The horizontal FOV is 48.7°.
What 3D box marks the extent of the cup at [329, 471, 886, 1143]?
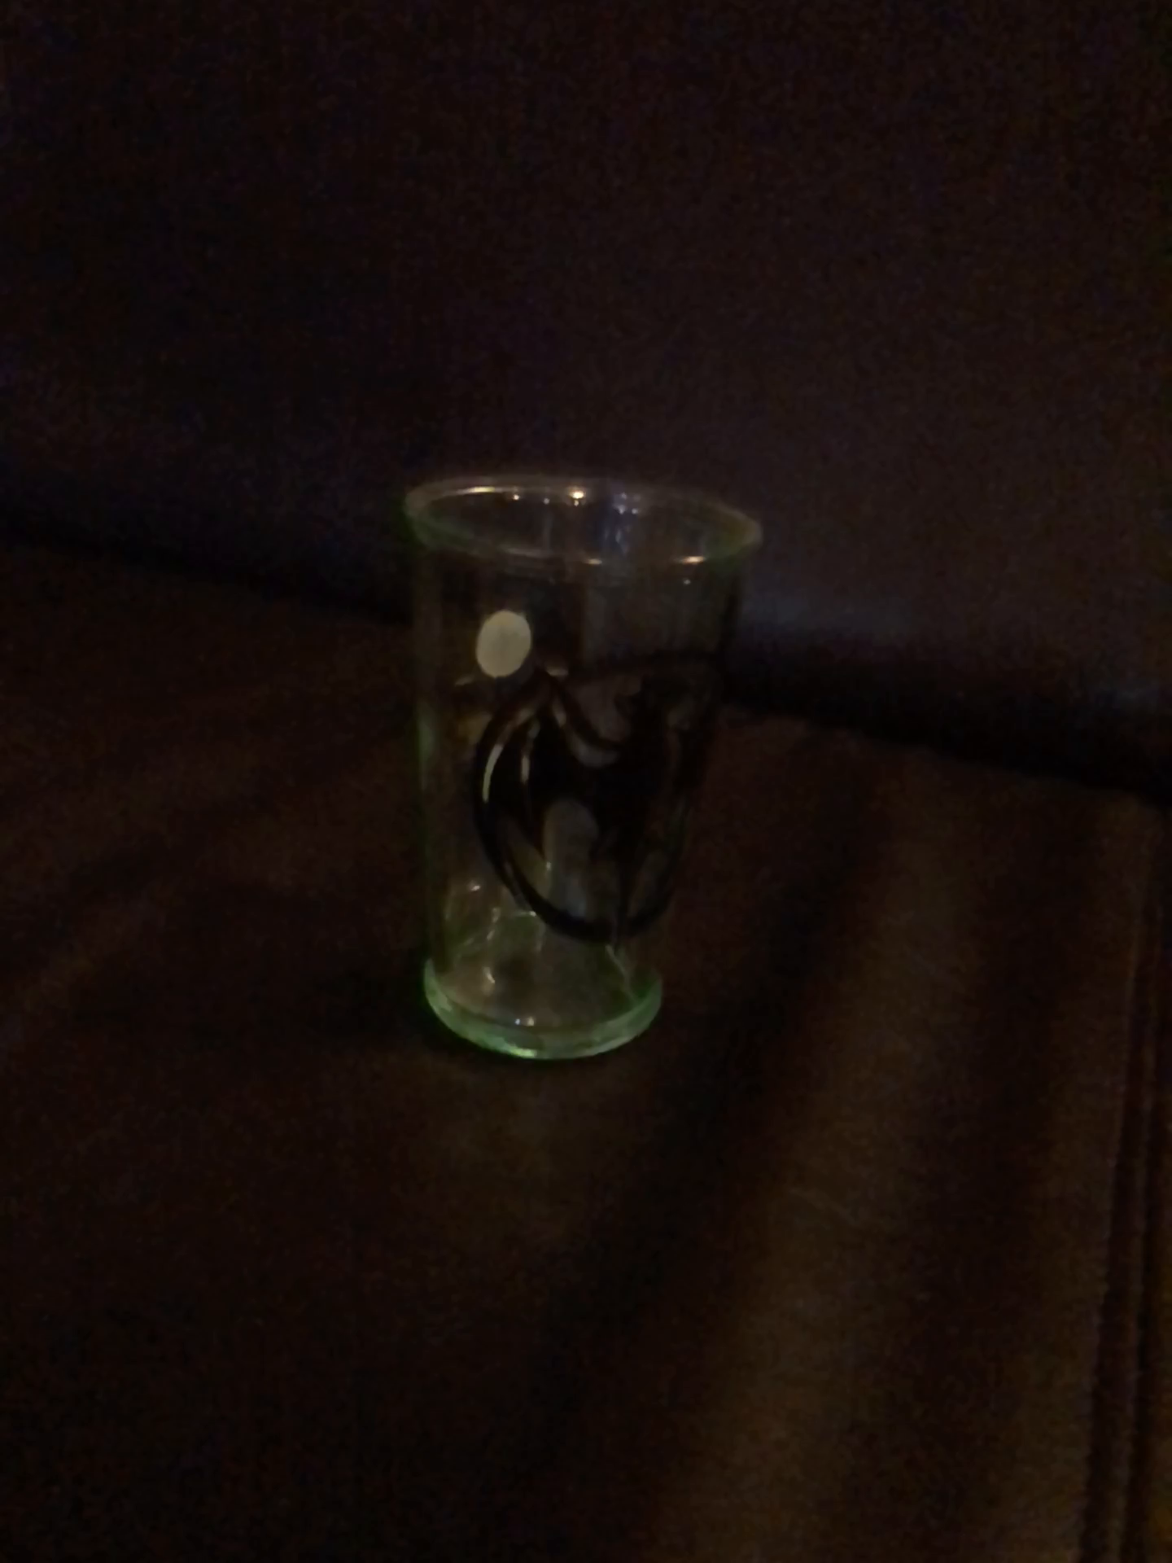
[{"bbox_3d":[-0.003,-0.002,0.295,0.085,0.117,0.088,5,23,-2],"label":"cup"}]
